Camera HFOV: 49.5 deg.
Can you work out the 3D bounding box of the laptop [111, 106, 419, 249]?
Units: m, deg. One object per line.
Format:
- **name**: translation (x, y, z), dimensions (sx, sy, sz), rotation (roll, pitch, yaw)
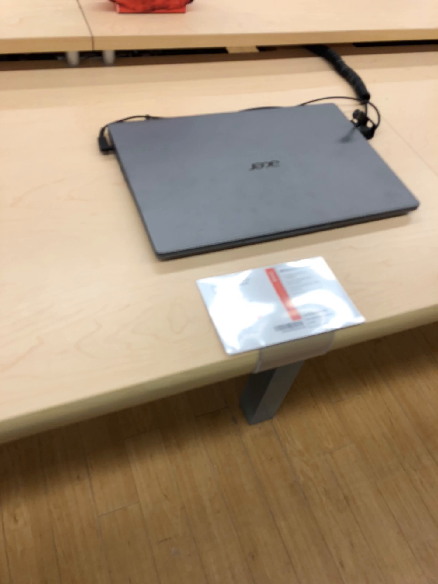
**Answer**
- **laptop**: translation (0.052, -0.148, 0.548), dimensions (0.307, 0.001, 0.201), rotation (-12, 56, -19)
